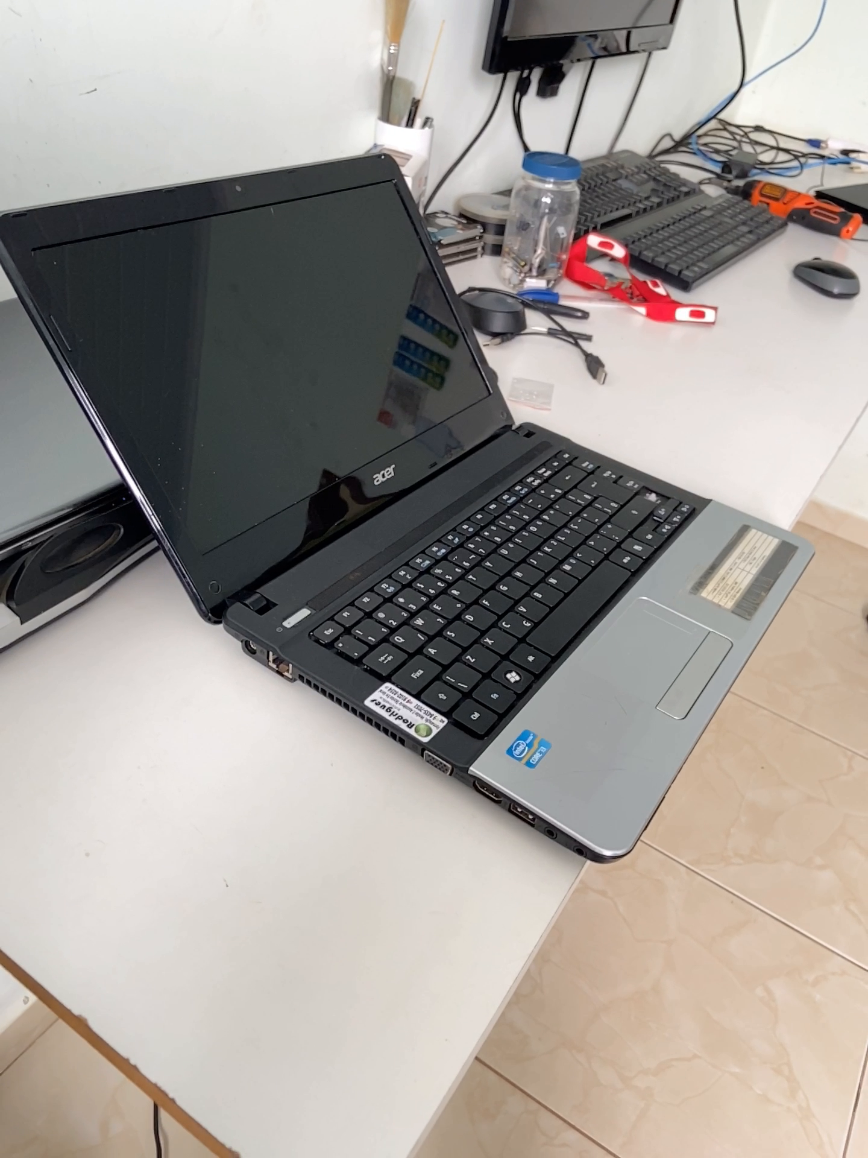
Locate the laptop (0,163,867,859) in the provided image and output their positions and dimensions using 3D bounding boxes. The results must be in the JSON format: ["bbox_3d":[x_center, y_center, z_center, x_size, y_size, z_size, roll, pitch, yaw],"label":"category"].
[{"bbox_3d":[0.018,-0.099,0.536,0.396,0.162,0.334,28,40,23],"label":"laptop"}]
